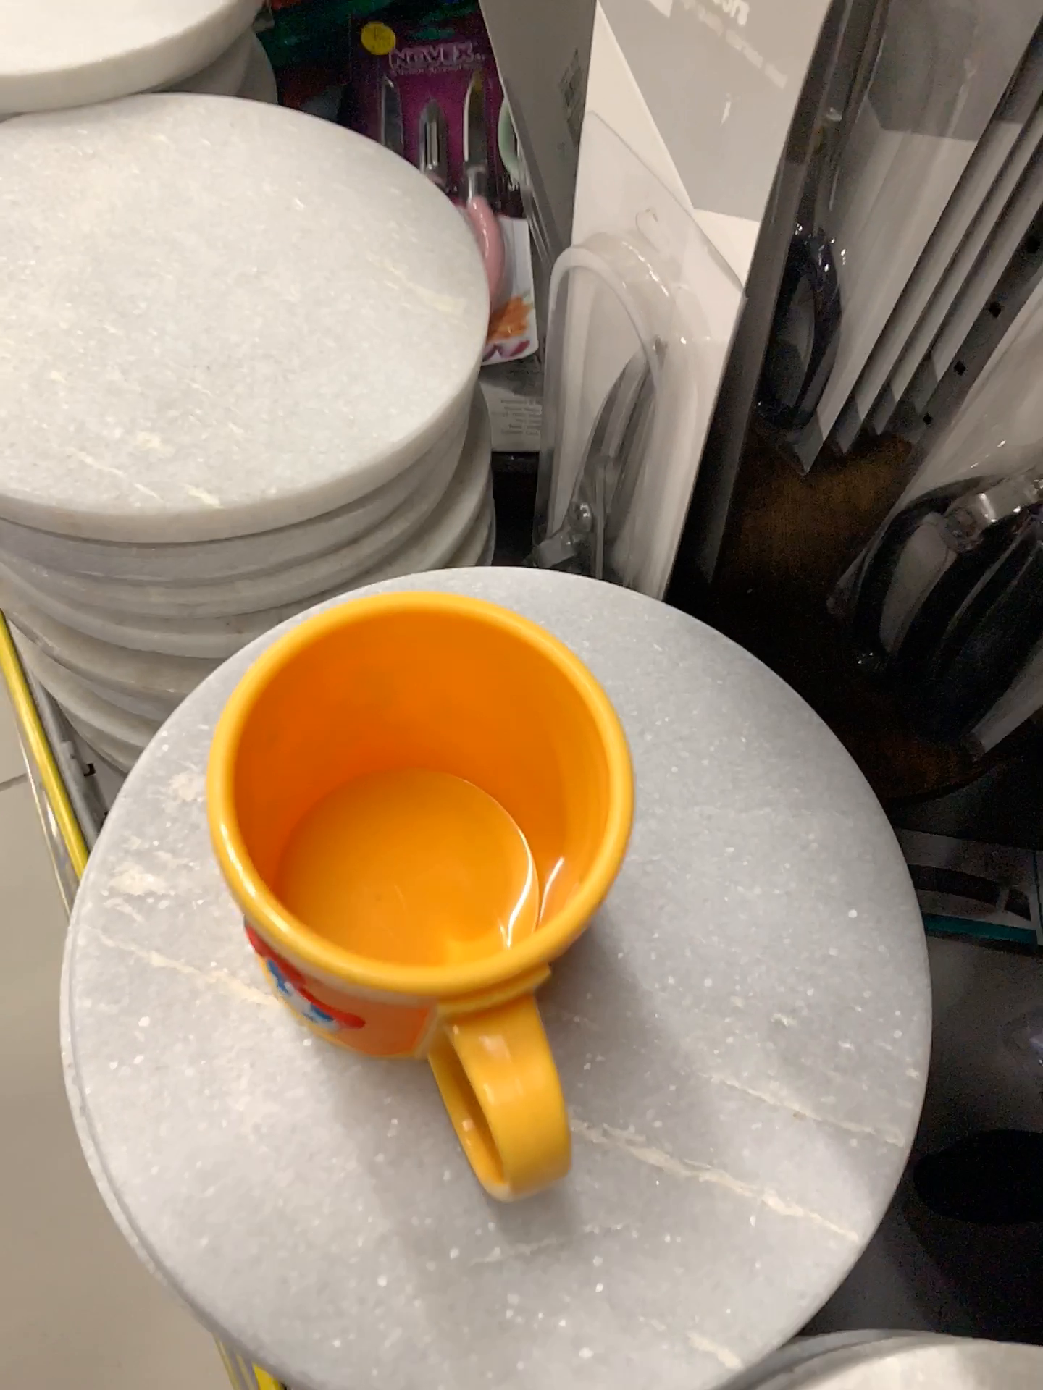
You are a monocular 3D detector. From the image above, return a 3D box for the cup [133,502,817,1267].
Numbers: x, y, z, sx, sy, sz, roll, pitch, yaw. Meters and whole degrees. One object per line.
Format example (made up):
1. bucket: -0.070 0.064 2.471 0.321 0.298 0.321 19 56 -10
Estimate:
1. cup: -0.017 0.043 0.222 0.080 0.100 0.110 -18 64 -16
